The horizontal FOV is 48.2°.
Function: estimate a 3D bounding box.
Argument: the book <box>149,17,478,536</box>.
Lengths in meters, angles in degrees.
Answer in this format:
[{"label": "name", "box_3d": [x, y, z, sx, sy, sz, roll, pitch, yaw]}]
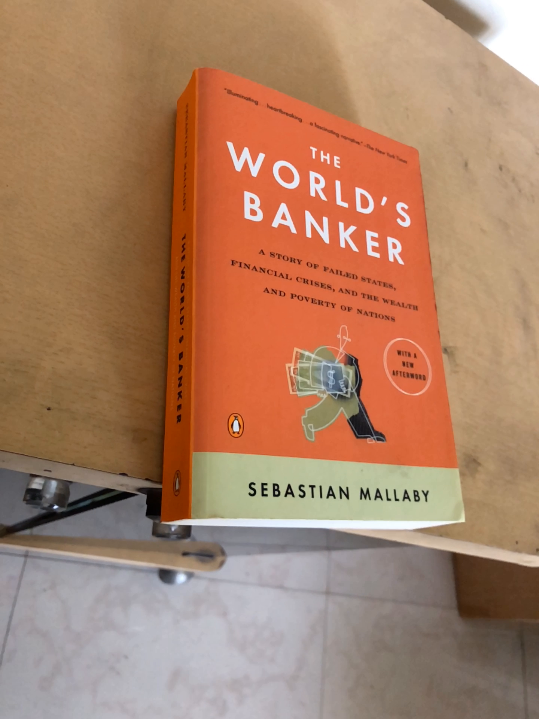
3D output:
[{"label": "book", "box_3d": [0.022, -0.034, 0.279, 0.141, 0.030, 0.220, 11, 67, -29]}]
